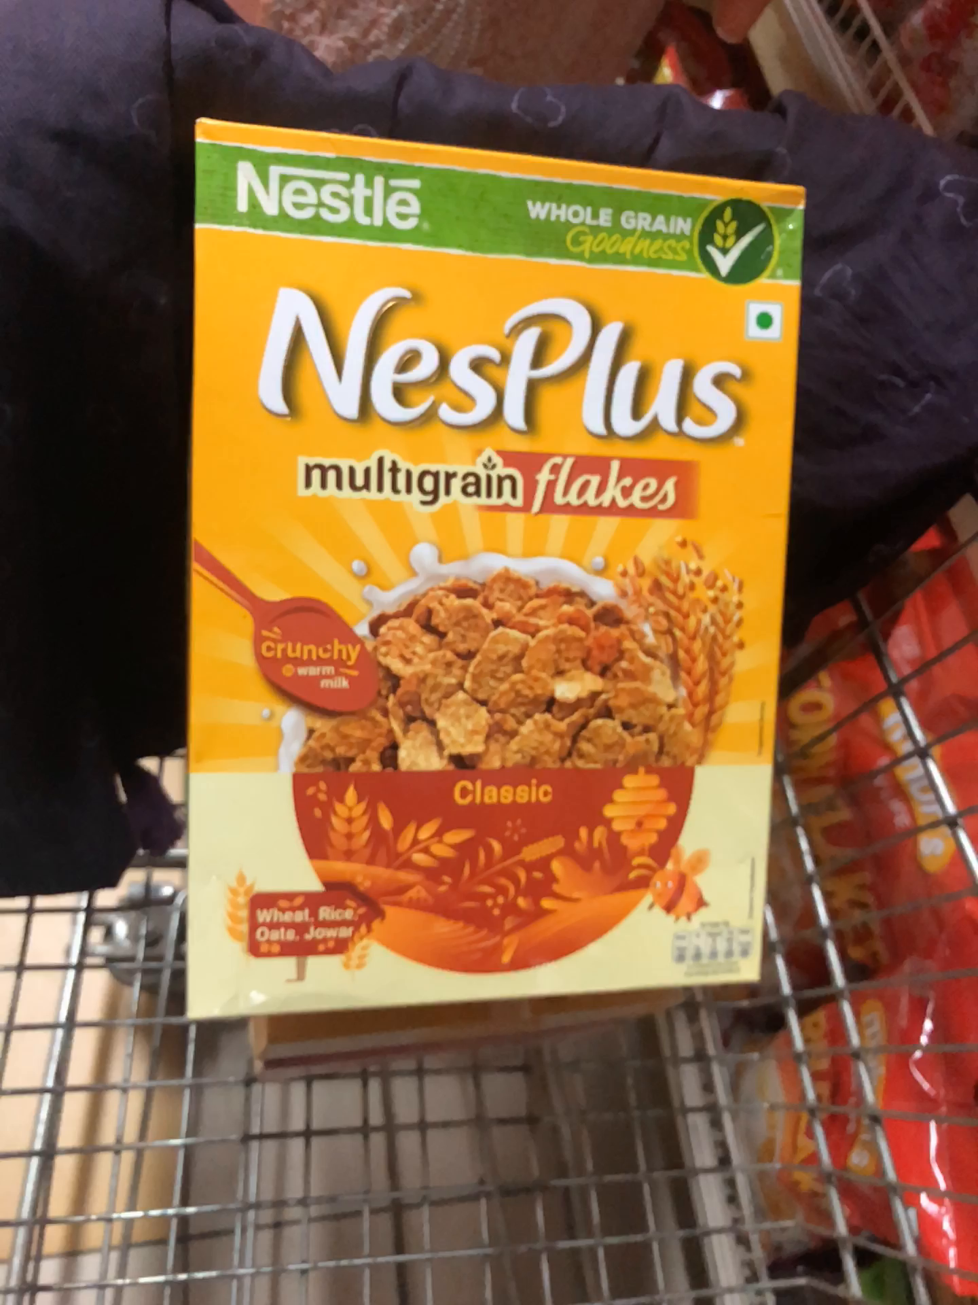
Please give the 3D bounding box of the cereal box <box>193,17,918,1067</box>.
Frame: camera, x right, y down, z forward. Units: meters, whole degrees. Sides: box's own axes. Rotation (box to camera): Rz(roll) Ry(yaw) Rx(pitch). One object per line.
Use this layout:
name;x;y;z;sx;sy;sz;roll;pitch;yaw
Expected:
cereal box;0.010;-0.024;0.336;0.190;0.080;0.260;0;100;-17
